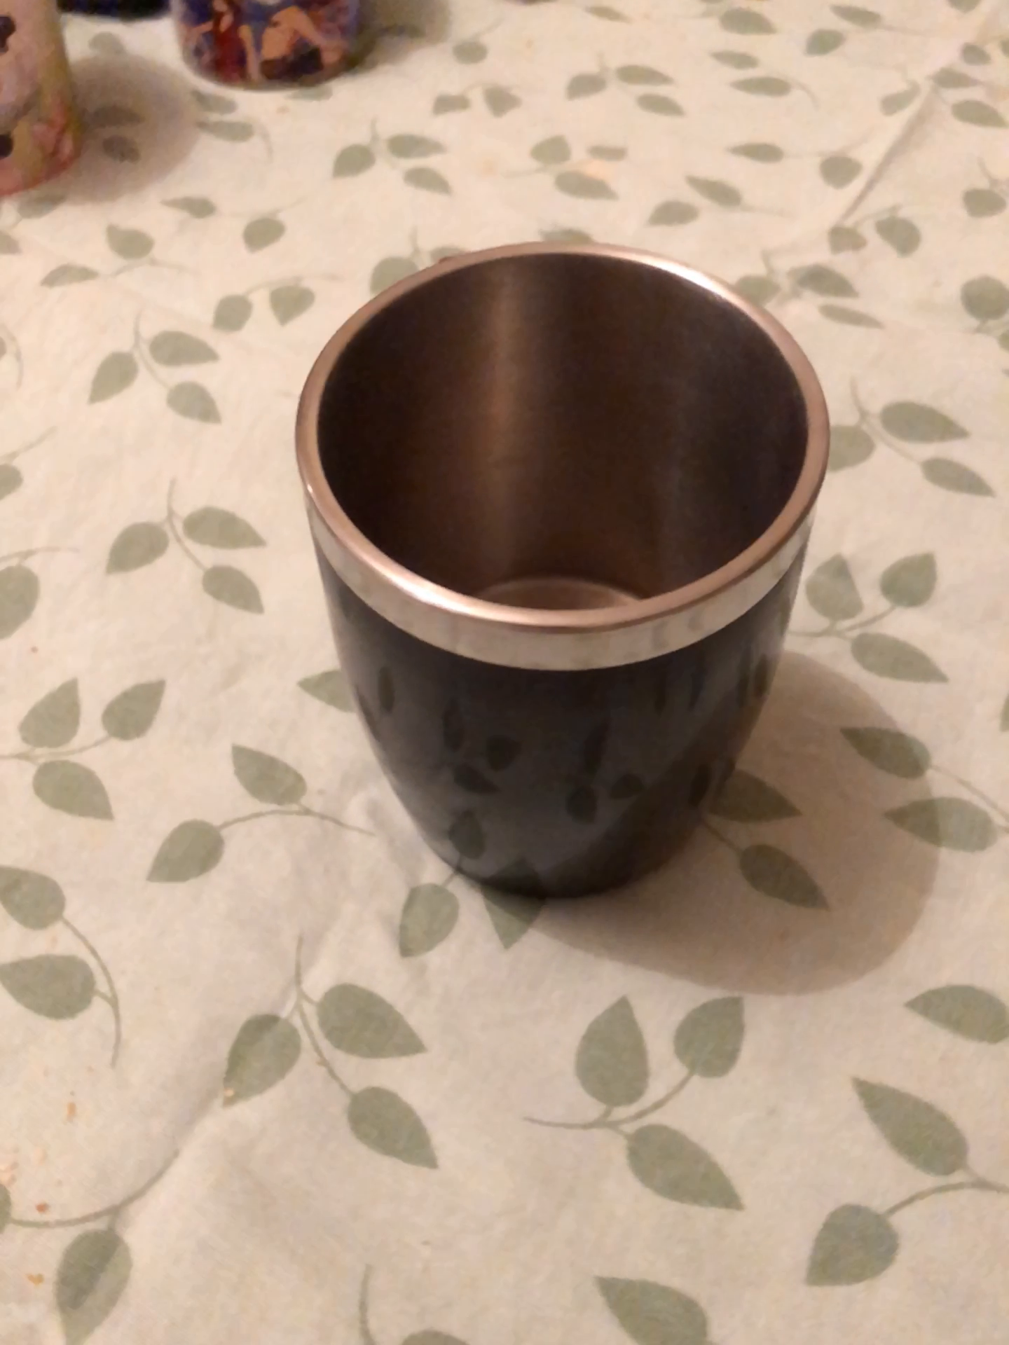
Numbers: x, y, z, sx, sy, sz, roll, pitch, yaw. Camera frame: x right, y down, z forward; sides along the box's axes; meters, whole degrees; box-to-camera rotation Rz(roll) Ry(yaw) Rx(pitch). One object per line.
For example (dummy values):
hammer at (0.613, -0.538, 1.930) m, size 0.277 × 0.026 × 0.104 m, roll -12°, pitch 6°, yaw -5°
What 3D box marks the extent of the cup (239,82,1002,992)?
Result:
cup at (0.011, -0.025, 0.241) m, size 0.090 × 0.119 × 0.131 m, roll -14°, pitch 58°, yaw -8°
